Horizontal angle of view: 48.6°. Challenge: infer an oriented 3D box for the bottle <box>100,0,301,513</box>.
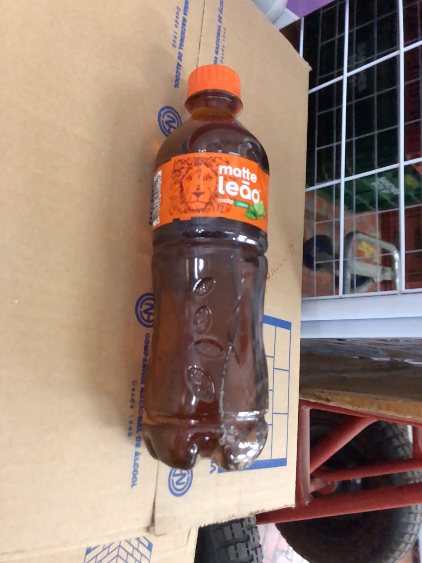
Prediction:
[{"bbox_3d":[-0.001,-0.017,0.232,0.070,0.060,0.220,11,77,-46],"label":"bottle"}]
